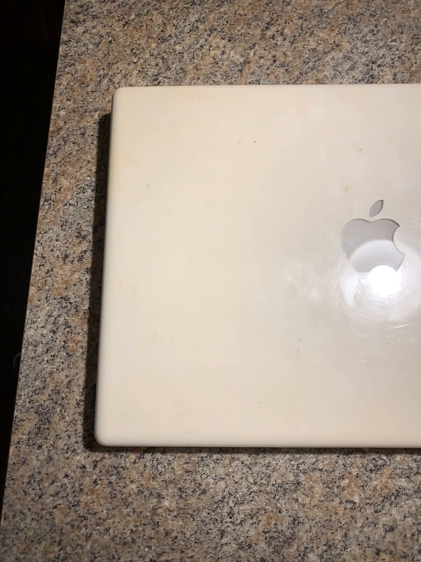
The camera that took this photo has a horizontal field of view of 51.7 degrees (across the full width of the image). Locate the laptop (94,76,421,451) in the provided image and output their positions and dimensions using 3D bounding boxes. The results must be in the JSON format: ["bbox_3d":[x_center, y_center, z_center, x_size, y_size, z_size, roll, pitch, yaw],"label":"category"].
[{"bbox_3d":[0.091,-0.019,0.242,0.305,0.002,0.205,0,77,5],"label":"laptop"}]
